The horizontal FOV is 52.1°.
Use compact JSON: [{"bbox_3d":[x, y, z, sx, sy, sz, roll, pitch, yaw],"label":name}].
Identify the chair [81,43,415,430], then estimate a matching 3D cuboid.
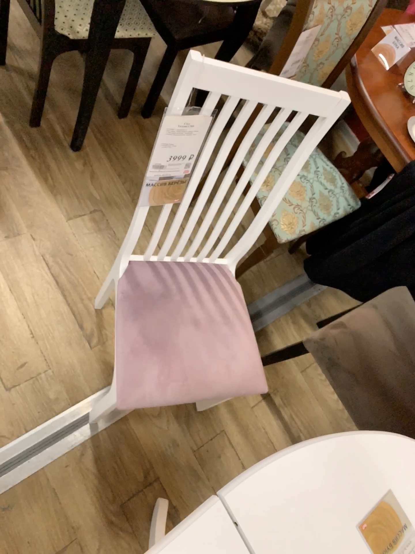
[{"bbox_3d":[-0.015,0.054,1.118,0.442,1.004,0.520,1,67,-26],"label":"chair"}]
